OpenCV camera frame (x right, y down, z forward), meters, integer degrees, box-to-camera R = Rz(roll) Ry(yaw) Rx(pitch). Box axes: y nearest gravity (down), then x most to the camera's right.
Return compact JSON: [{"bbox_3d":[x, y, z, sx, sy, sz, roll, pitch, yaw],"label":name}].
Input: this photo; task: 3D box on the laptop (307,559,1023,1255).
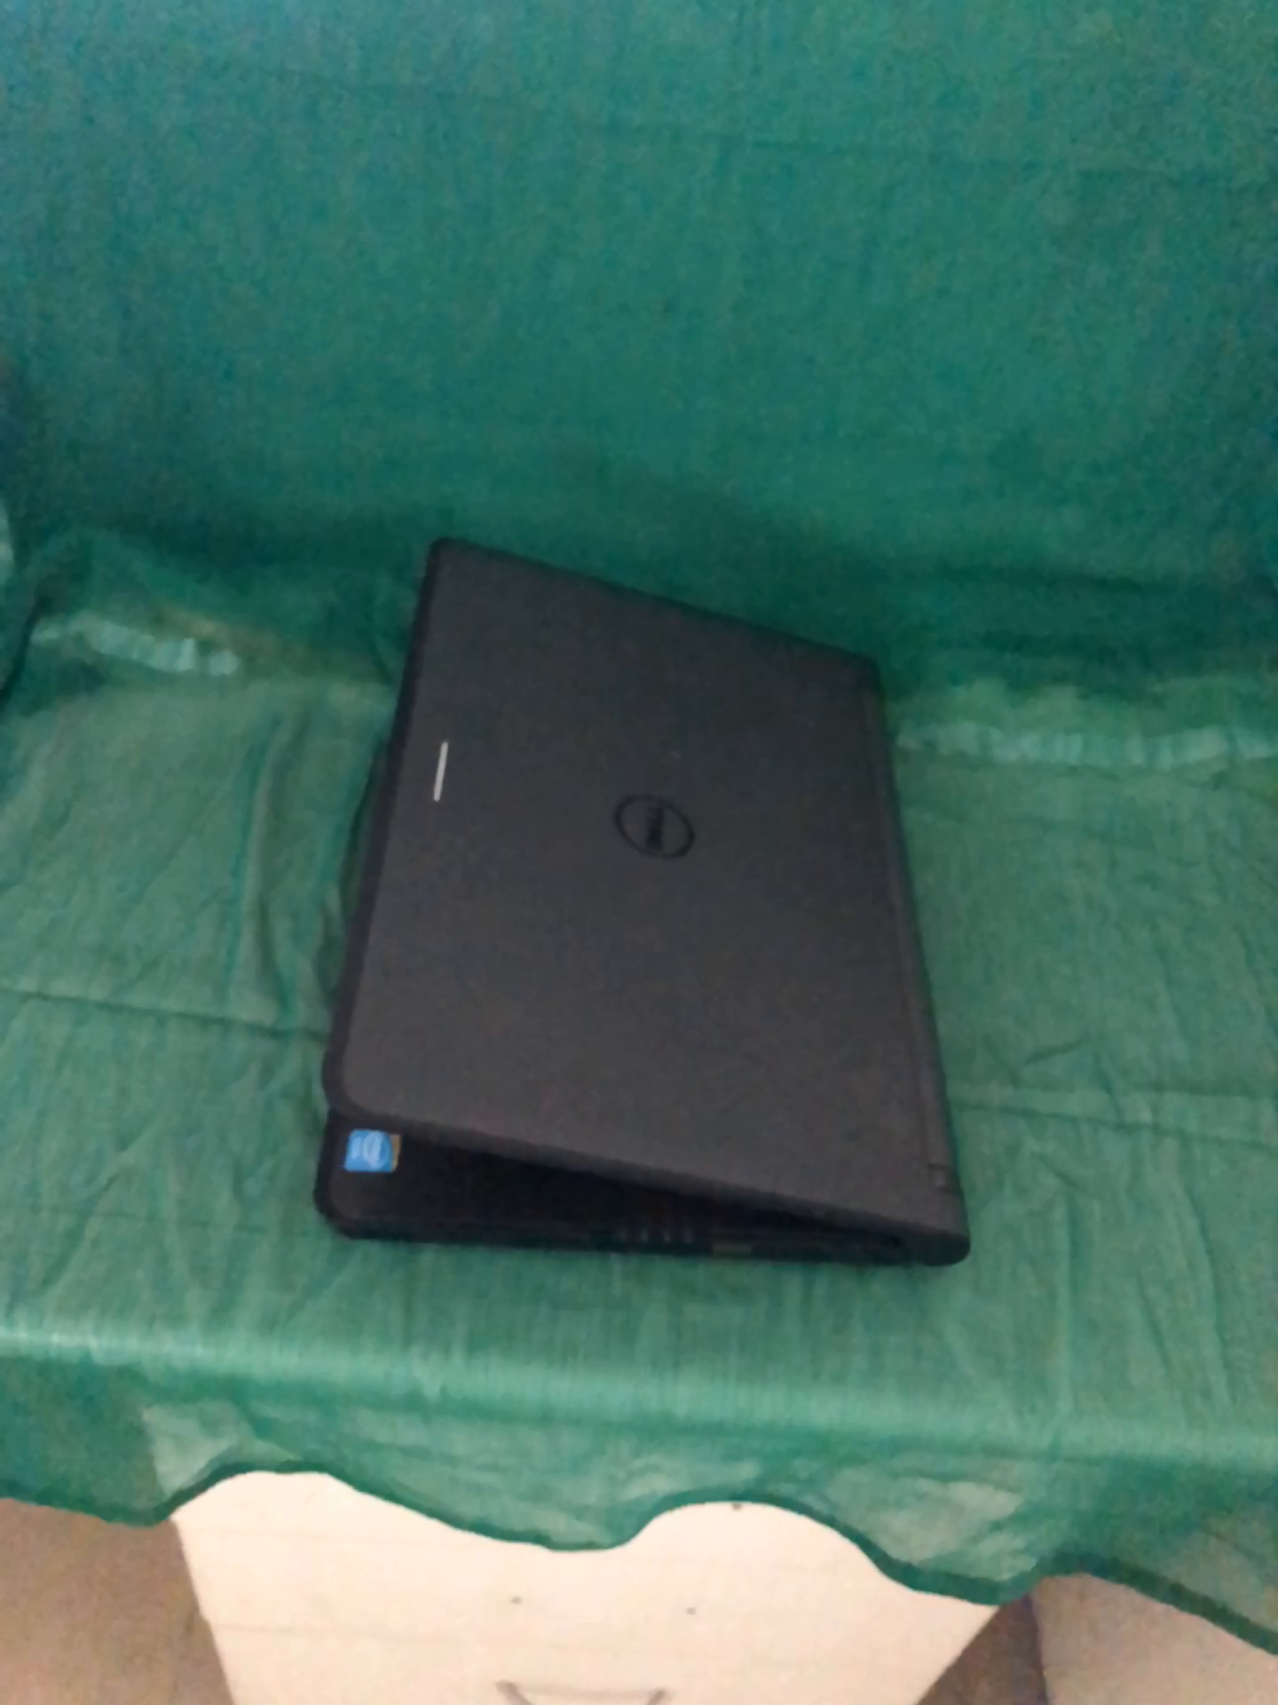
[{"bbox_3d":[0.008,0.003,0.582,0.229,0.064,0.307,4,45,-4],"label":"laptop"}]
